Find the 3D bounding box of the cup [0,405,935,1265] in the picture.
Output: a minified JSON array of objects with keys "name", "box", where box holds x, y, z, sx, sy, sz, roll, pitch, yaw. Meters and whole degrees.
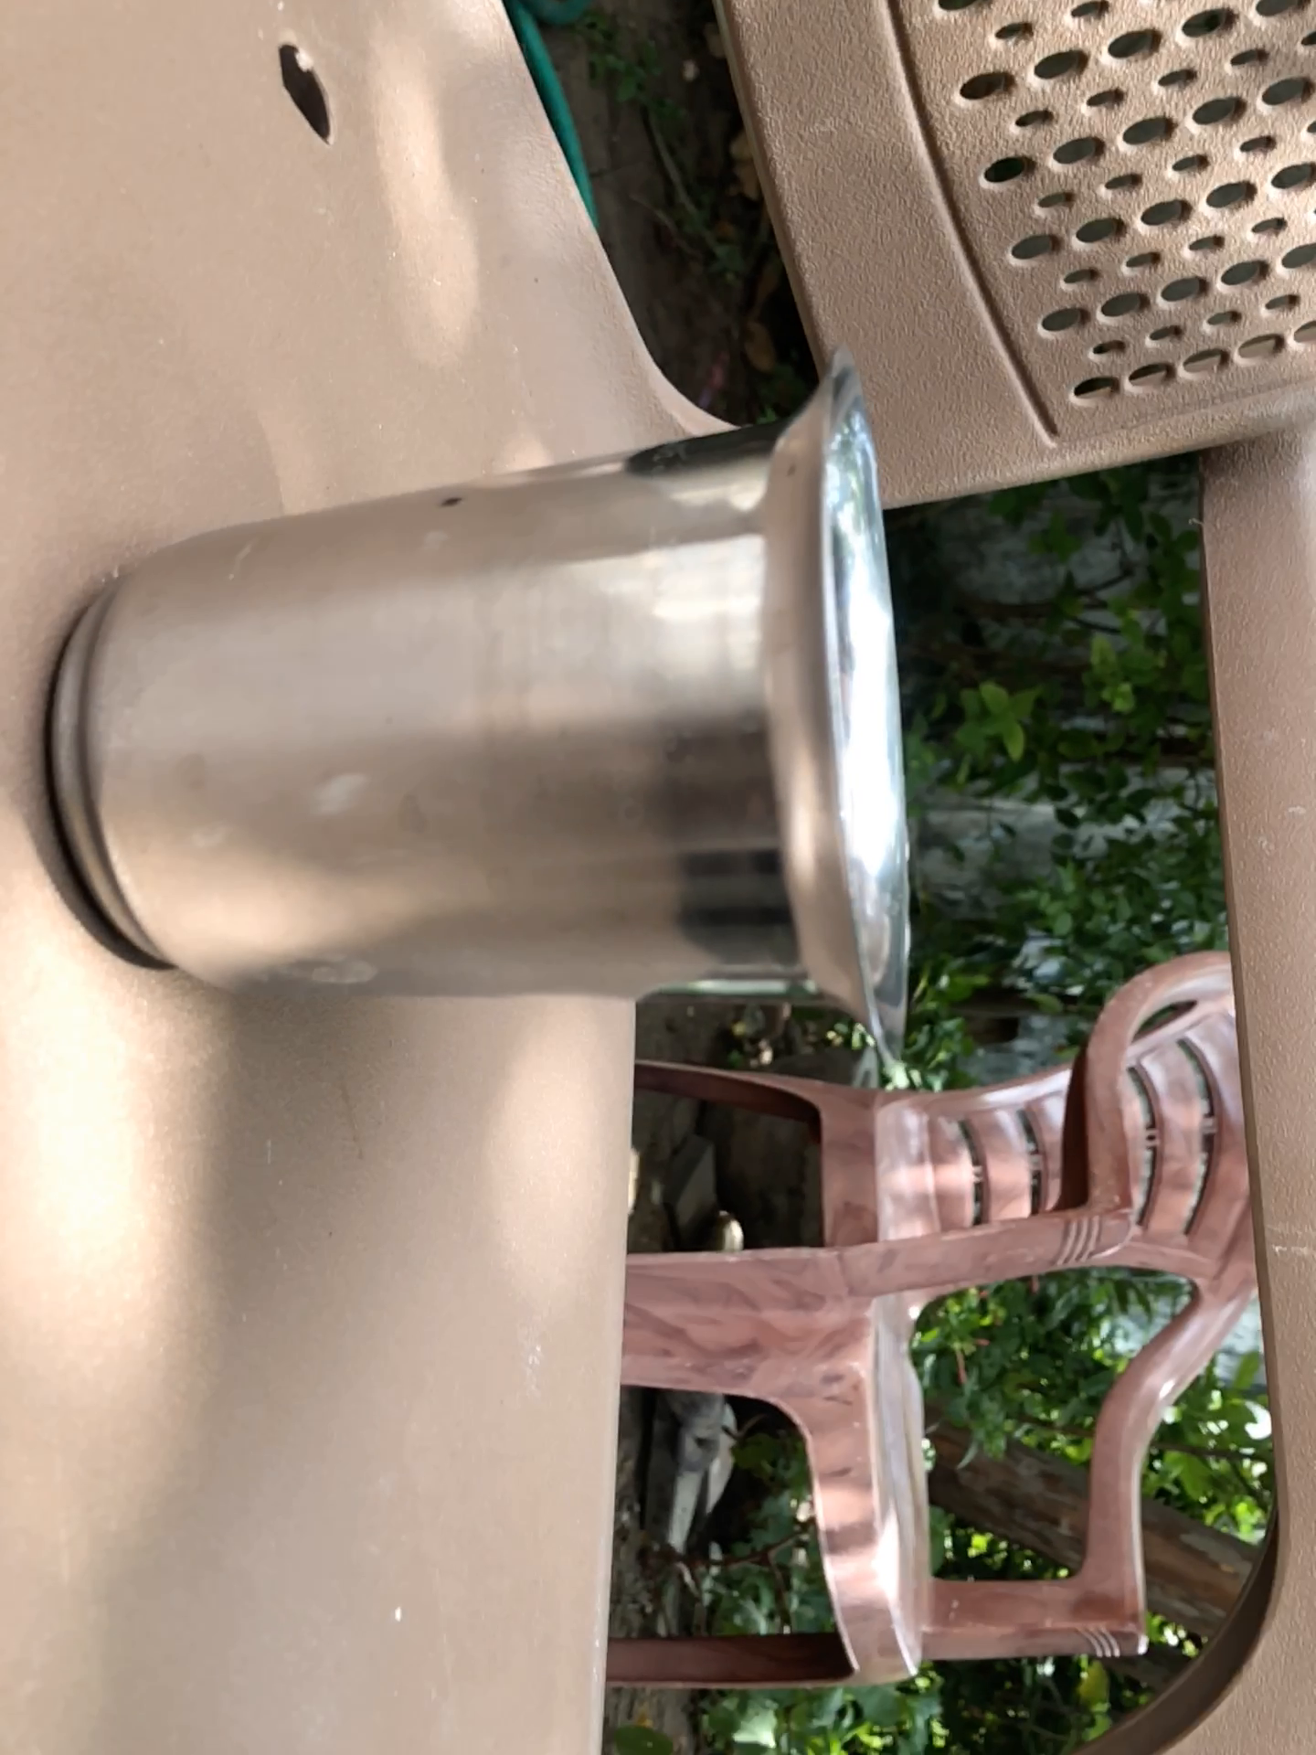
[{"name":"cup","box":[-0.013,-0.013,0.193,0.090,0.090,0.080,-59,147,-63]}]
